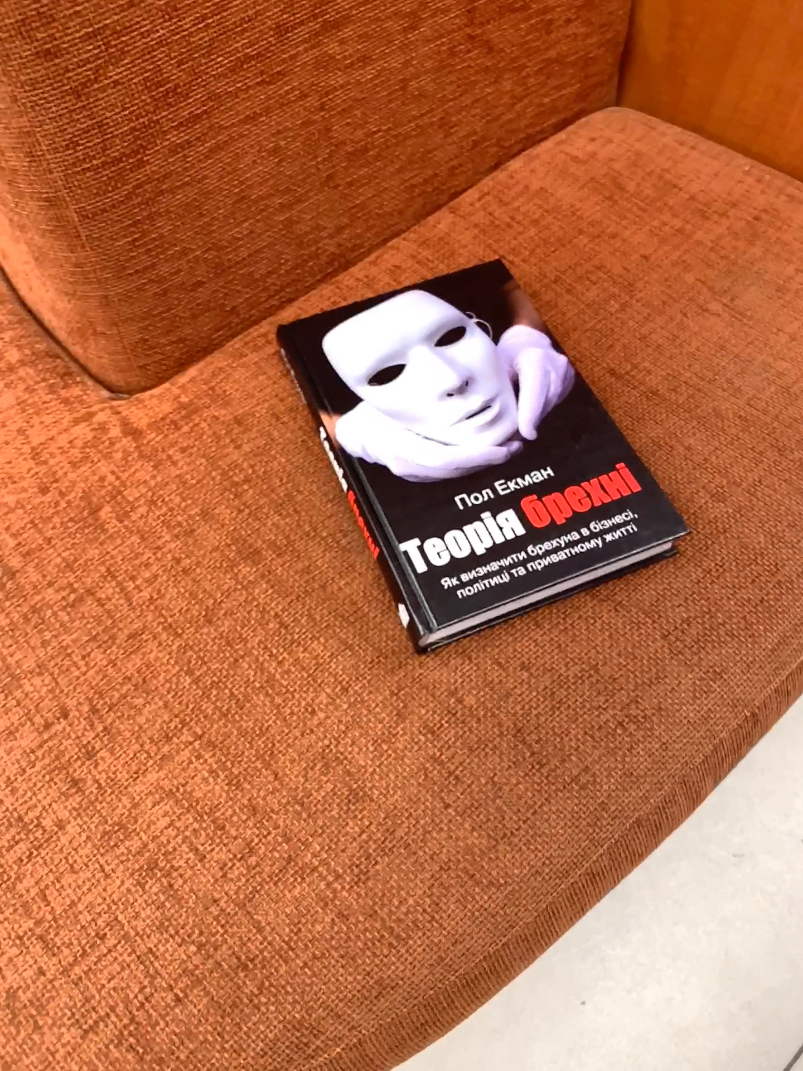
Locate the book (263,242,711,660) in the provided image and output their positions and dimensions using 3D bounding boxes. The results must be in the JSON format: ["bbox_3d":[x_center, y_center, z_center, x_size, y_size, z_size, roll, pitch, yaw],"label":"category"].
[{"bbox_3d":[0.033,-0.057,0.430,0.150,0.030,0.209,-21,58,-9],"label":"book"}]
